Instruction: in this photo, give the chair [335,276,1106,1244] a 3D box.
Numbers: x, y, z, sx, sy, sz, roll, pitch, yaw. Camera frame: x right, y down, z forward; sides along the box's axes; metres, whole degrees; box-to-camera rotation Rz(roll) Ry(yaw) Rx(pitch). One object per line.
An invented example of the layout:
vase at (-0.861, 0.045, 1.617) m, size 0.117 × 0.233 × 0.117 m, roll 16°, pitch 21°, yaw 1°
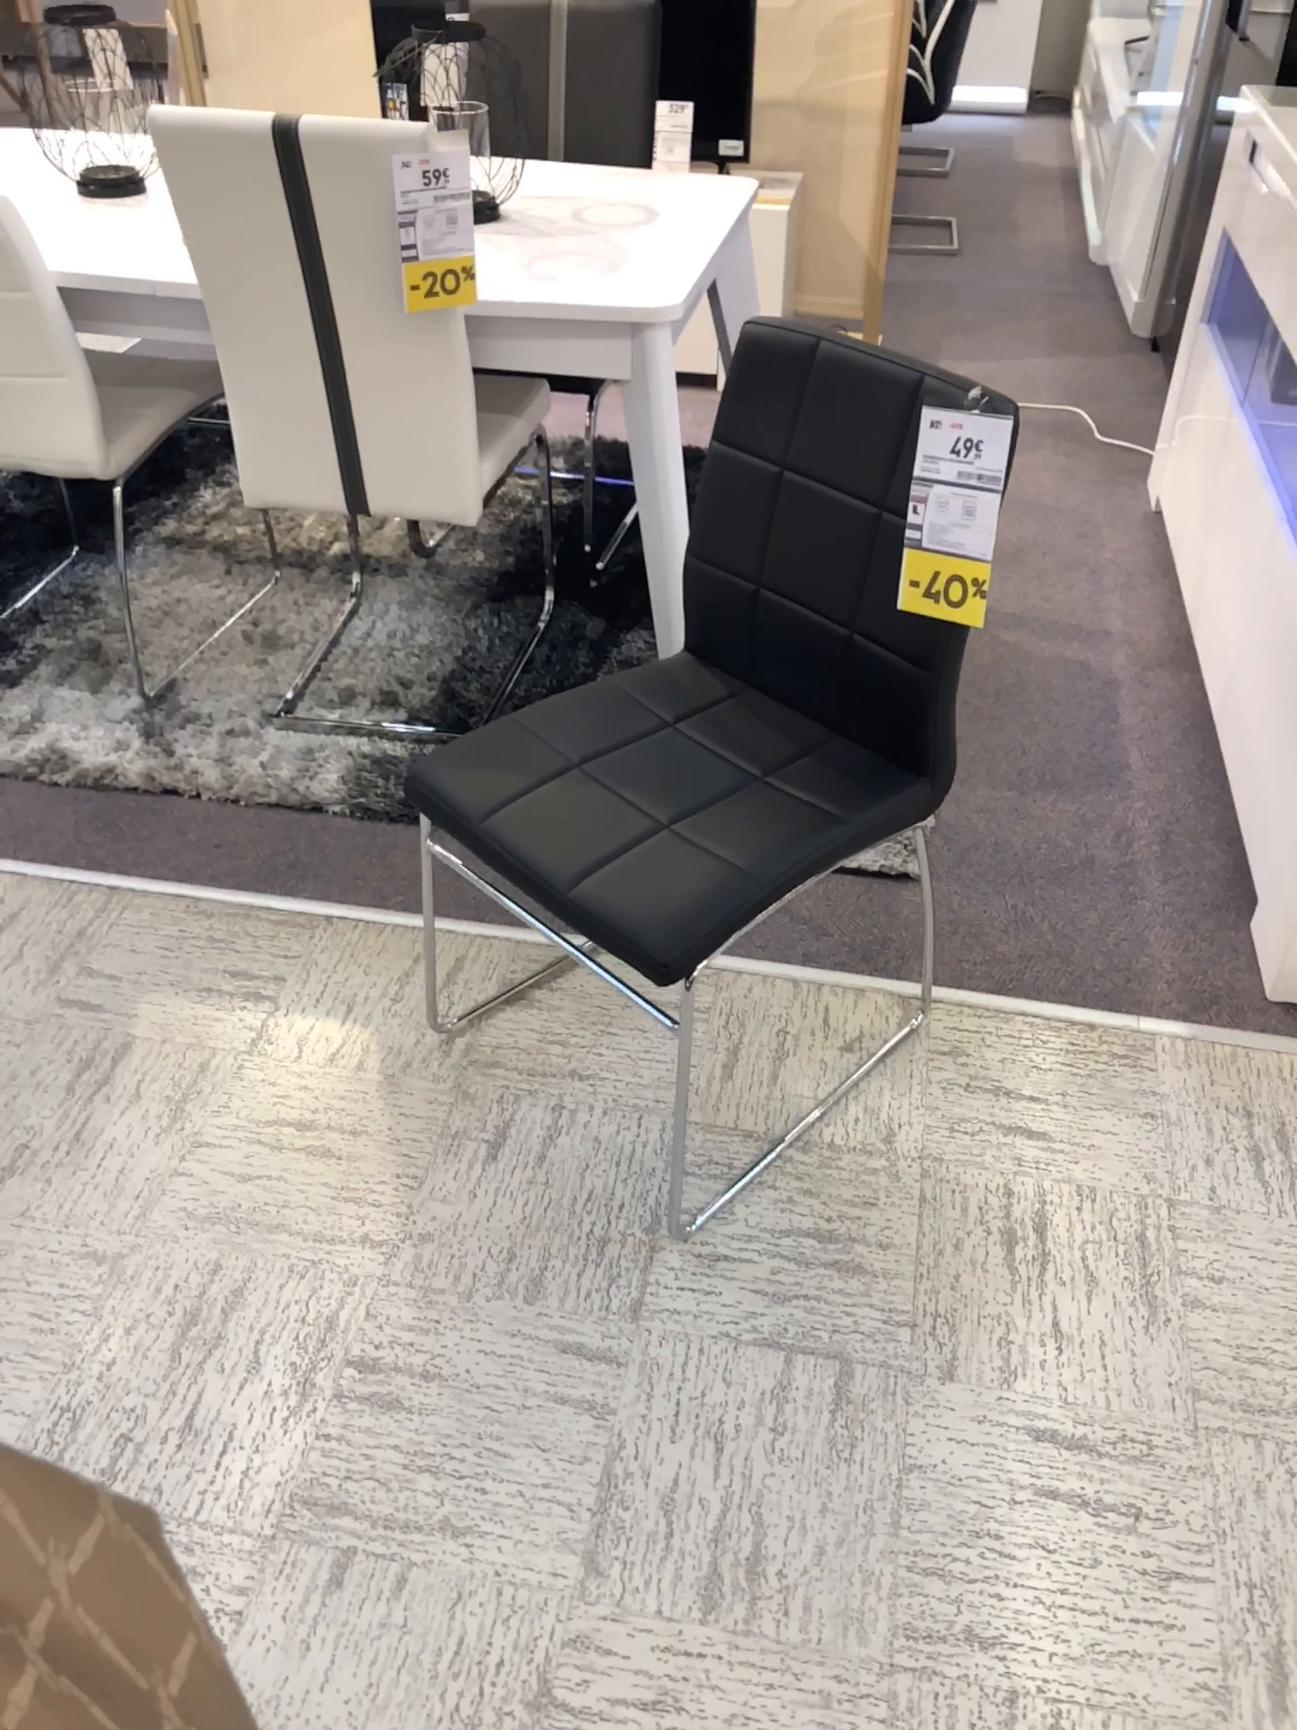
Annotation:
chair at (0.069, -0.137, 1.619) m, size 0.520 × 0.825 × 0.538 m, roll 31°, pitch 47°, yaw 34°
